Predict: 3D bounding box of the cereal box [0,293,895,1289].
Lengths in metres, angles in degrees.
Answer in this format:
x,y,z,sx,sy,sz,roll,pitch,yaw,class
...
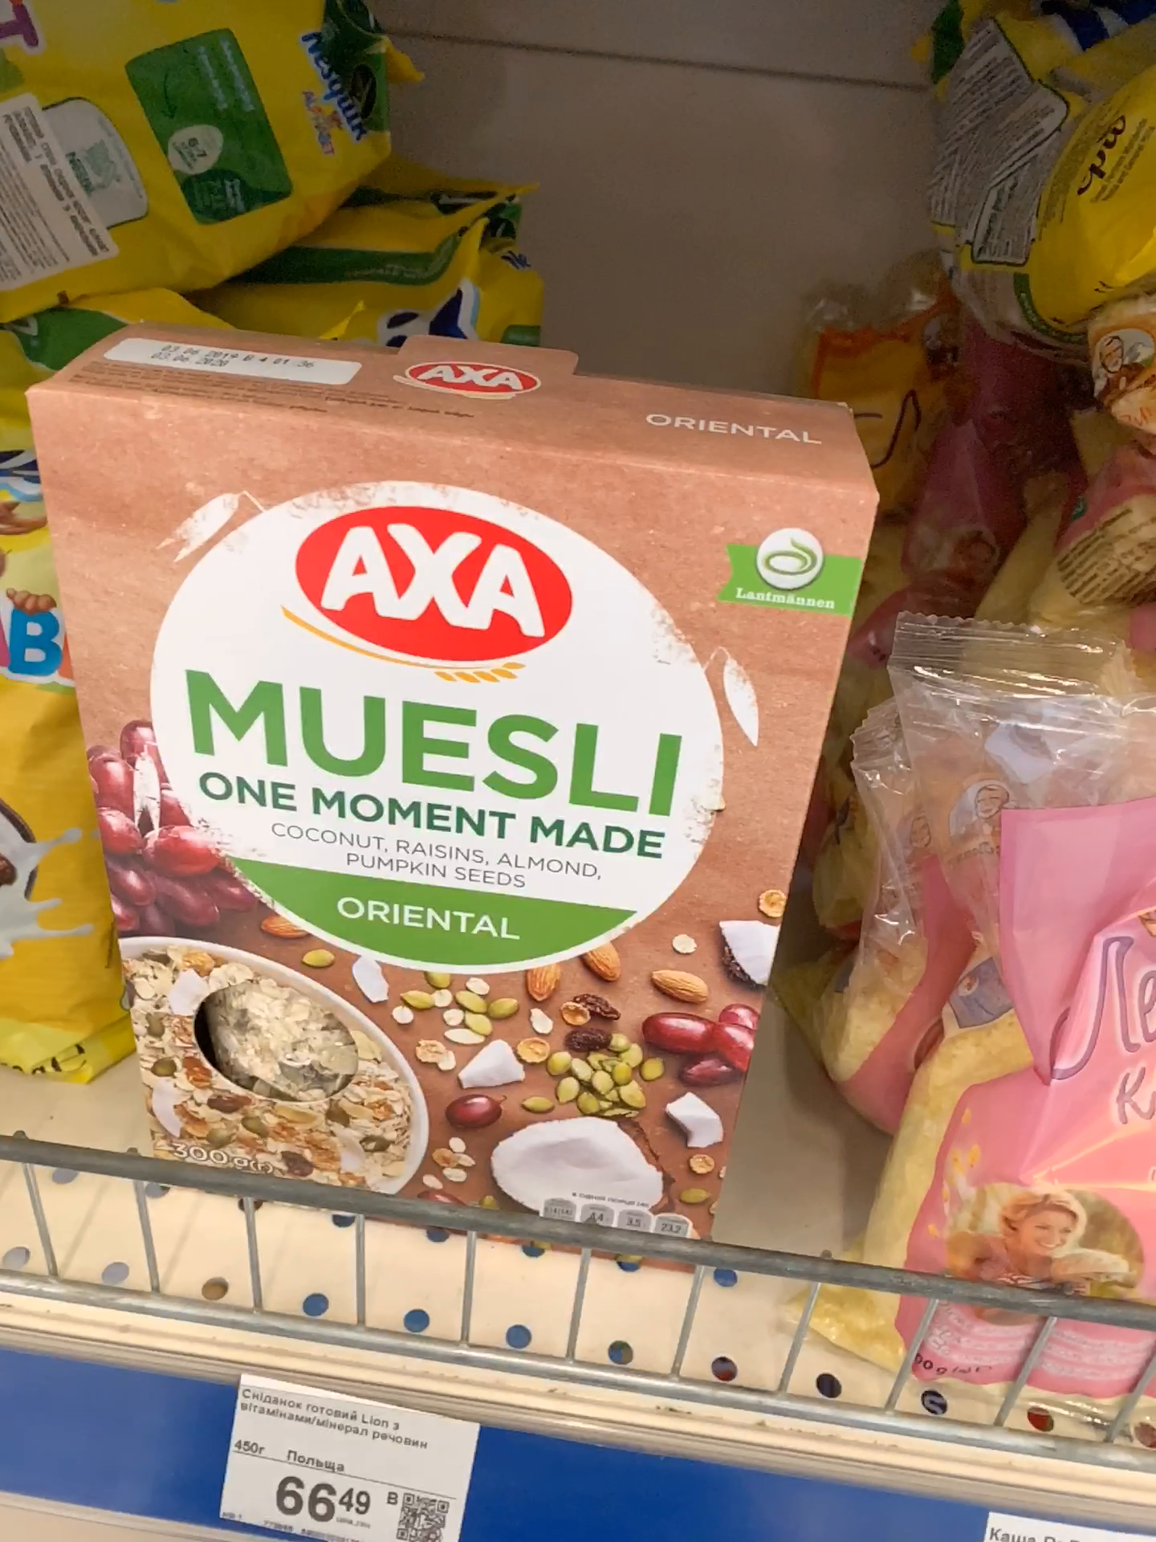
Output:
x,y,z,sx,sy,sz,roll,pitch,yaw,class
-0.030,0.019,0.275,0.150,0.218,0.050,8,34,4,cereal box
